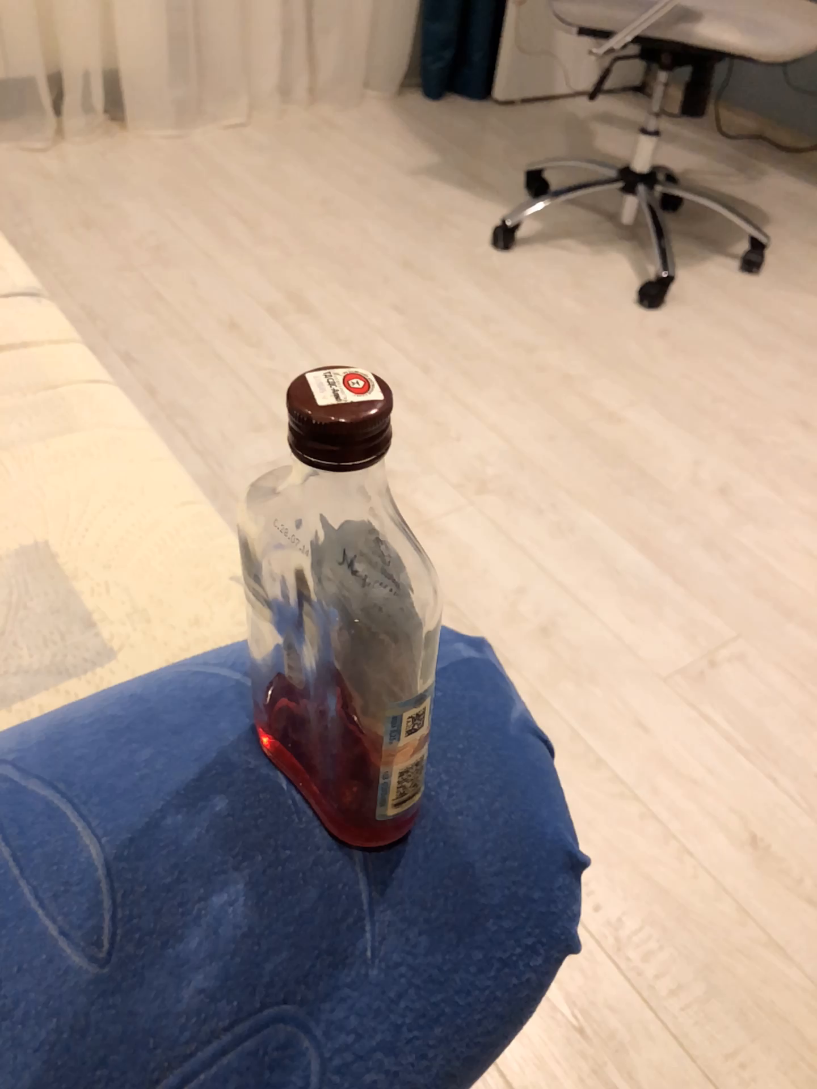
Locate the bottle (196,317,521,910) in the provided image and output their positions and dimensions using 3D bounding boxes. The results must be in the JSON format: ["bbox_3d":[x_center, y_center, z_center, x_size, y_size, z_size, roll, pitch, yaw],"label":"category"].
[{"bbox_3d":[-0.024,0.031,0.297,0.040,0.179,0.090,-25,51,-31],"label":"bottle"}]
